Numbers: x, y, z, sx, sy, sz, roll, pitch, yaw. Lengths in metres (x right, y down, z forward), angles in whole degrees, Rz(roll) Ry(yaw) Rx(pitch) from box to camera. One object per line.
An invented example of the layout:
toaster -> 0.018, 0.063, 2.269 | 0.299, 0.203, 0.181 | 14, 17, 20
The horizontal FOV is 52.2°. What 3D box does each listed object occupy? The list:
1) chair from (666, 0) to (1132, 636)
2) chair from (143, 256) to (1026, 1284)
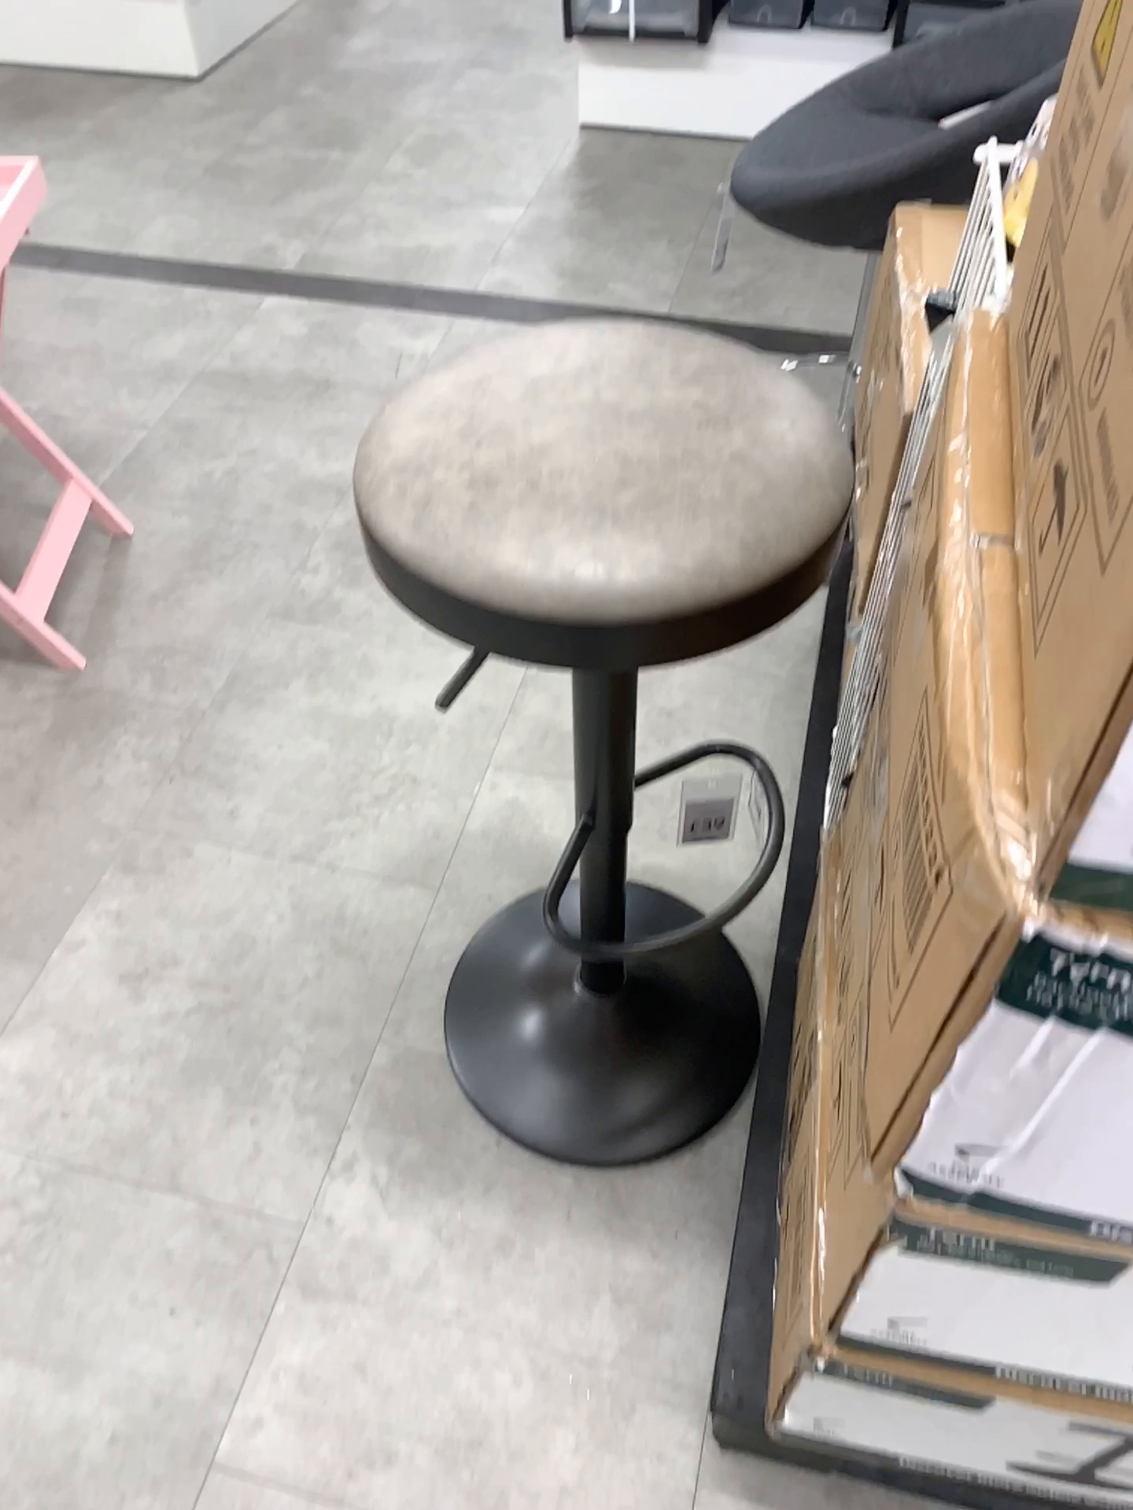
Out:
chair -> 0.443, -0.648, 1.638 | 0.453, 0.721, 0.511 | 13, 50, 12
chair -> 0.036, 0.045, 1.071 | 0.434, 0.741, 0.460 | 25, 53, 21
